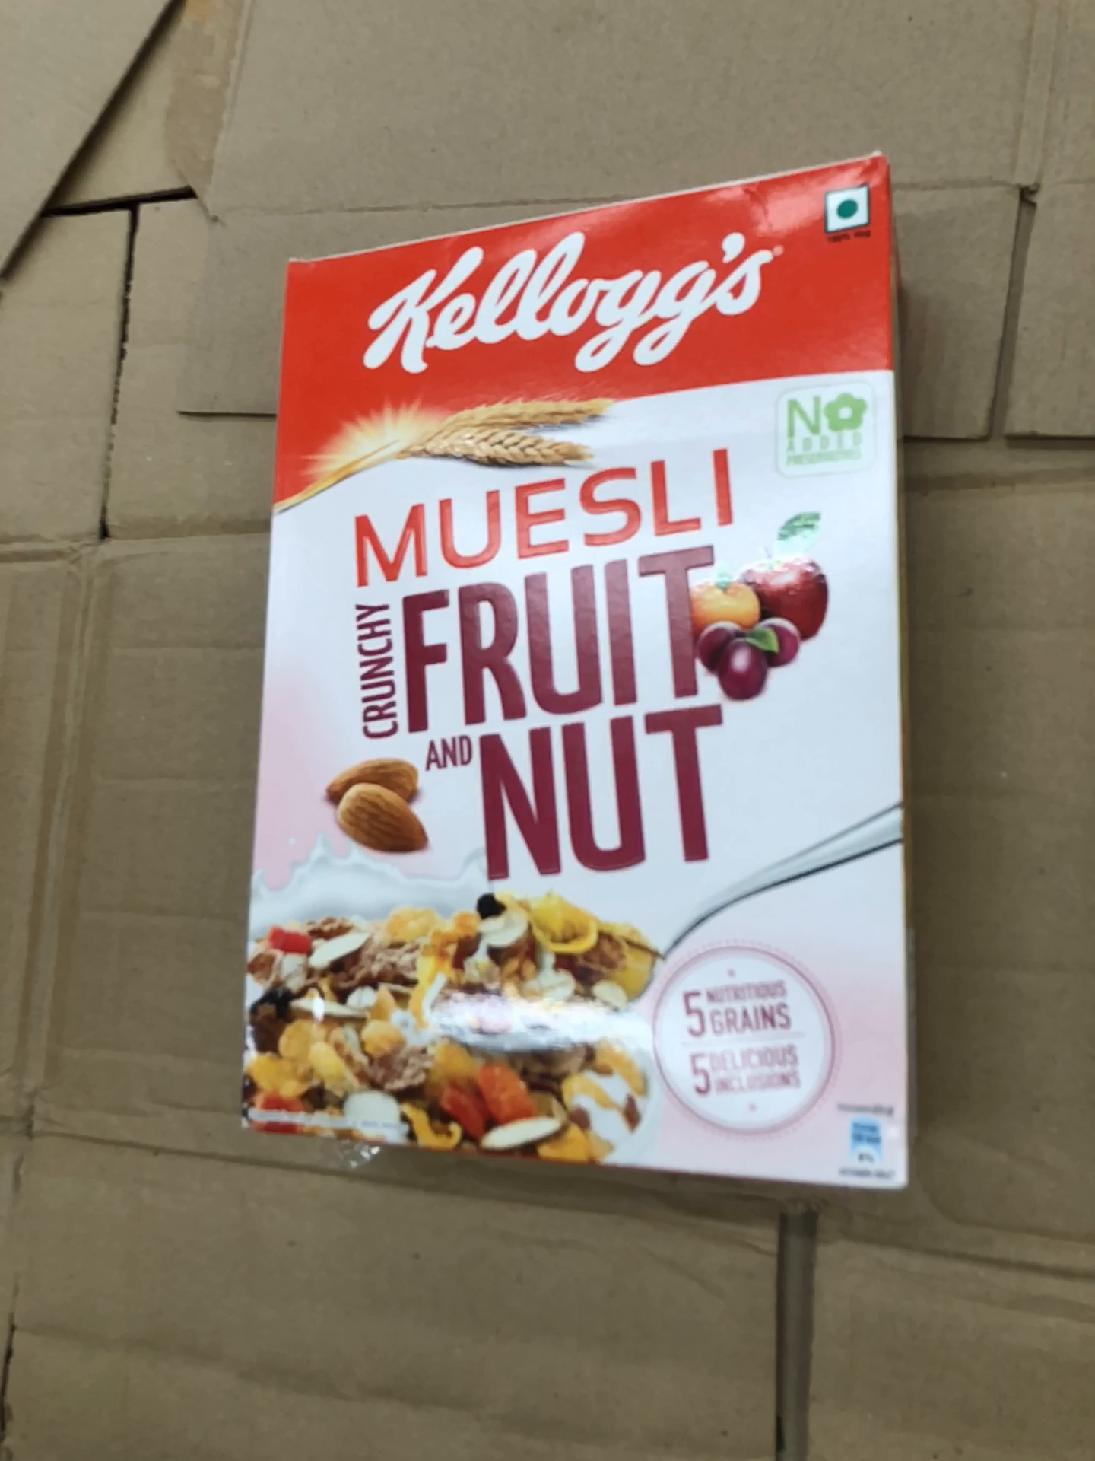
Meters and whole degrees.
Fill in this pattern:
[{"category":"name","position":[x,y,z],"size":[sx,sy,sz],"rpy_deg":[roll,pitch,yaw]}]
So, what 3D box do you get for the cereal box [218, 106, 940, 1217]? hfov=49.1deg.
[{"category":"cereal box","position":[0.013,-0.015,0.330],"size":[0.170,0.080,0.250],"rpy_deg":[-2,80,20]}]
